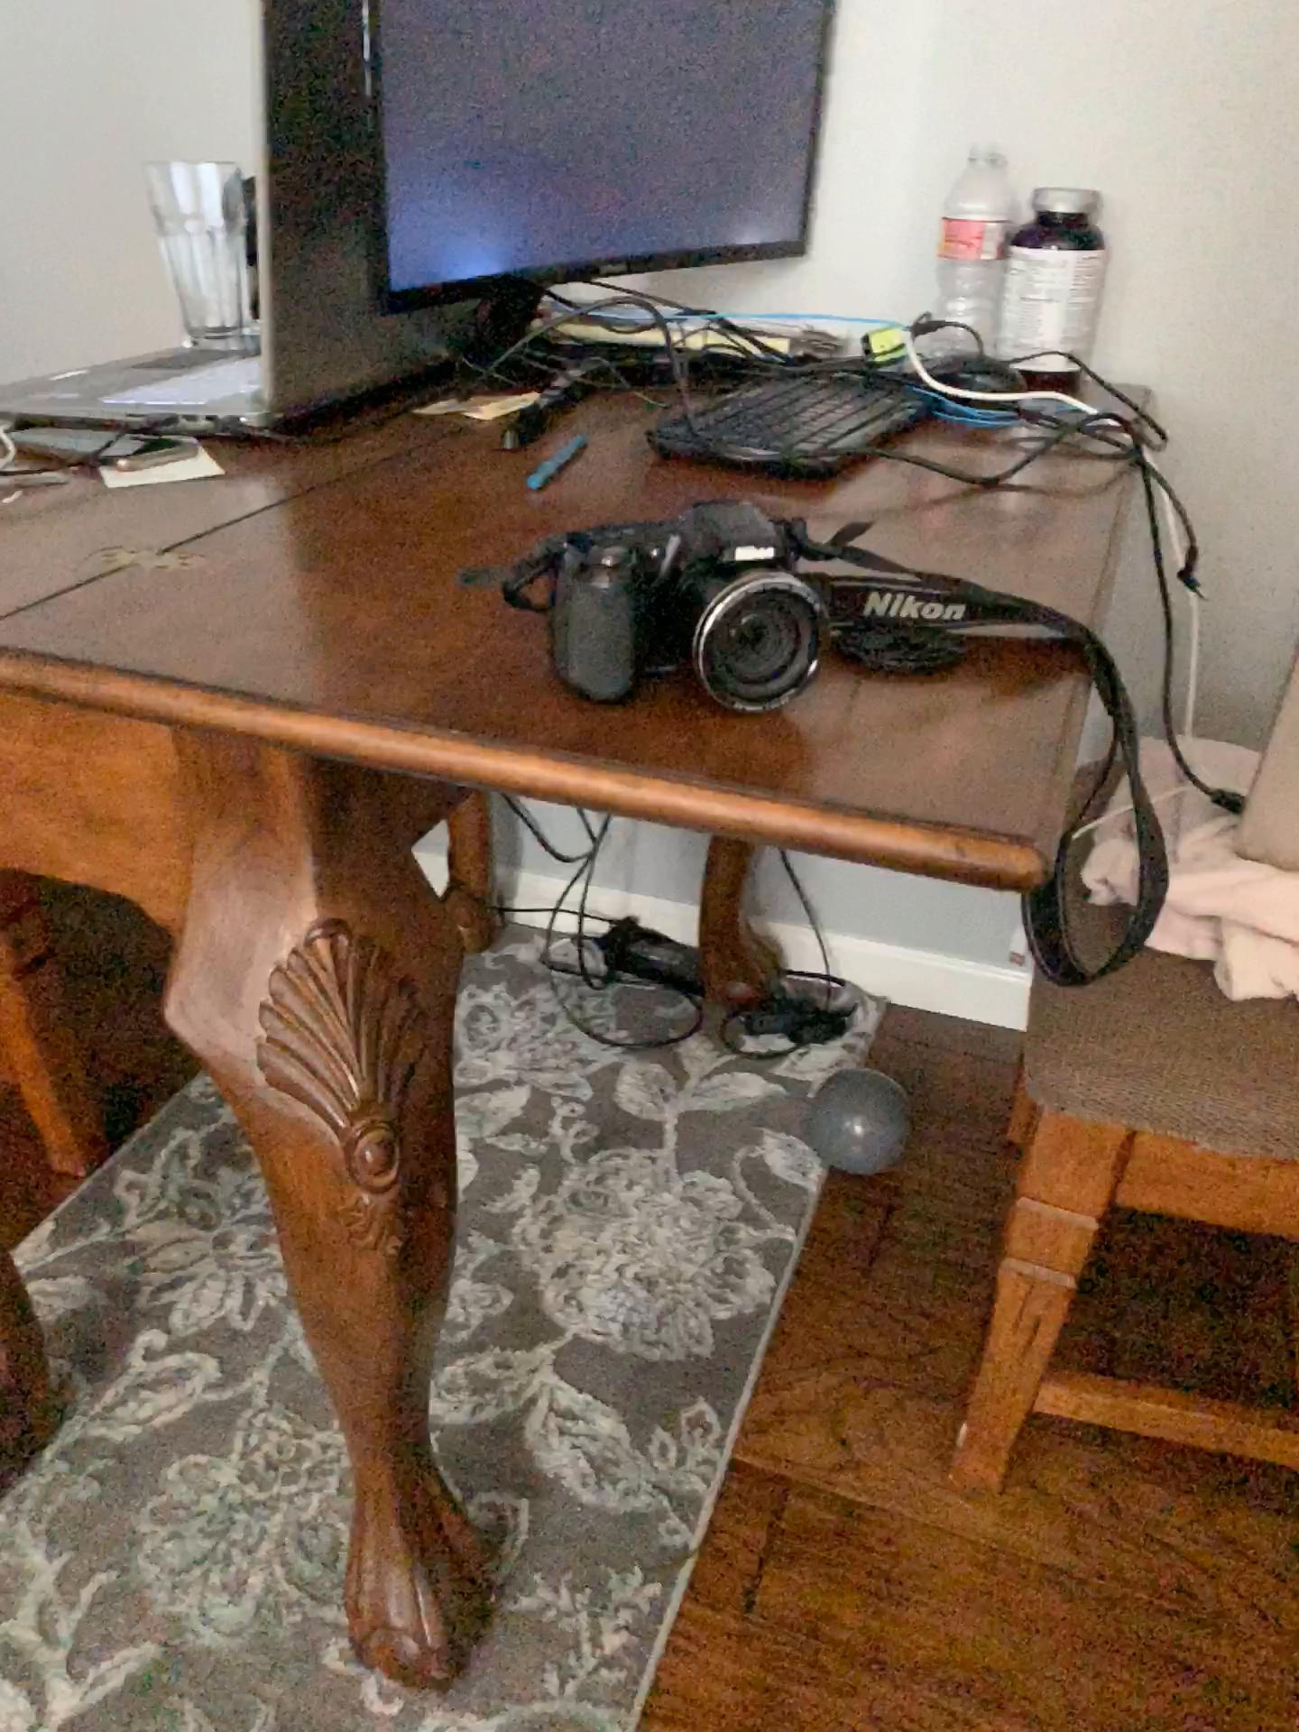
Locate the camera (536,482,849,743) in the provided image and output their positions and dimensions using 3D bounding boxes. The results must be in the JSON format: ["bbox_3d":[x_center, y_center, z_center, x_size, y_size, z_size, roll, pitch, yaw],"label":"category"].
[{"bbox_3d":[0.015,-0.114,0.582,0.110,0.079,0.091,-8,30,-15],"label":"camera"}]
